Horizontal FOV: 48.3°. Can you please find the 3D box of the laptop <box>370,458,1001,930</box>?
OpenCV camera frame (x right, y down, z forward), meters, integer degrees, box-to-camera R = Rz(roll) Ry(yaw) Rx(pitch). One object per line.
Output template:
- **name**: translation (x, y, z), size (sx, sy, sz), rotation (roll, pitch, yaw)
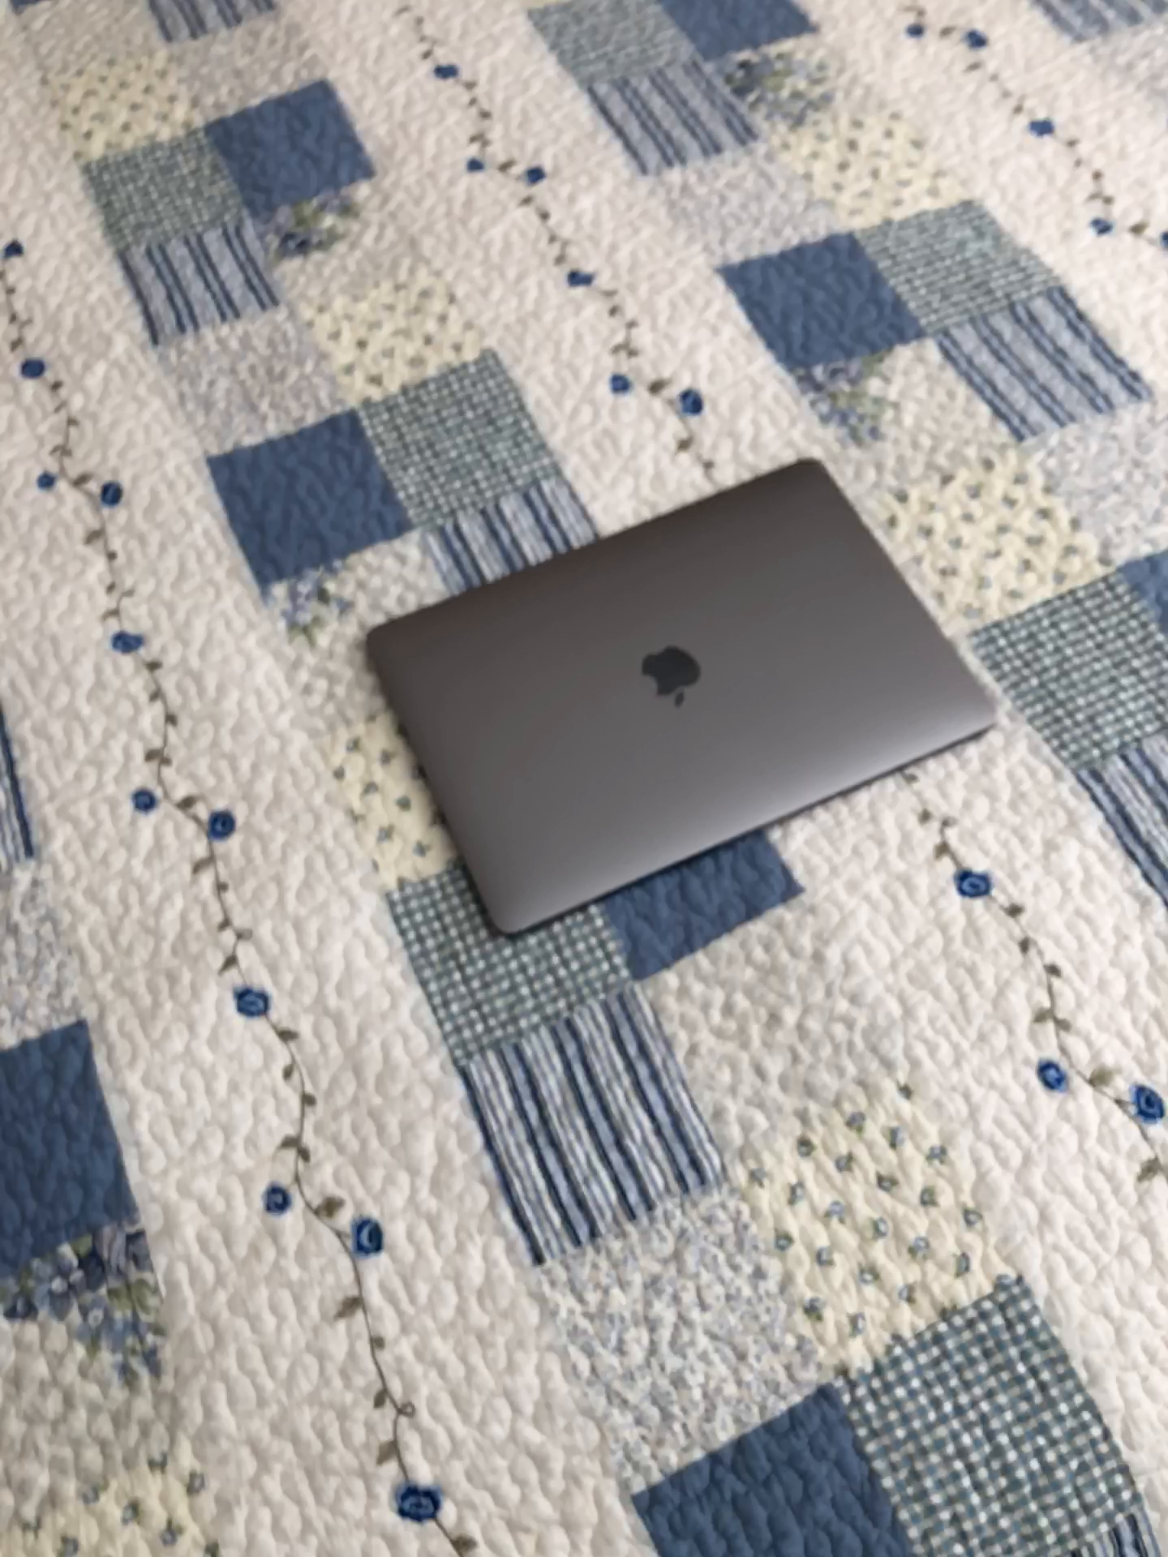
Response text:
- **laptop**: translation (0.052, -0.059, 0.725), size (0.290, 0.005, 0.202), rotation (-23, 63, -10)
